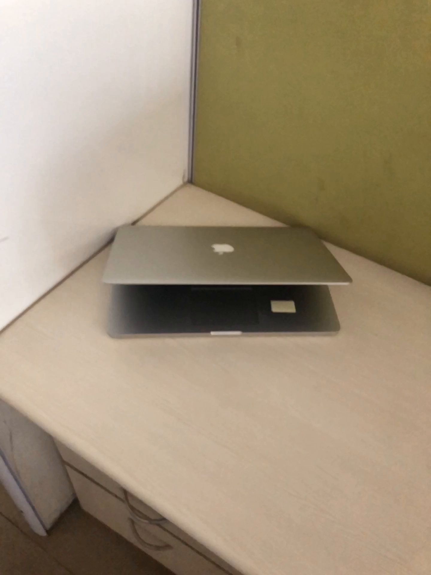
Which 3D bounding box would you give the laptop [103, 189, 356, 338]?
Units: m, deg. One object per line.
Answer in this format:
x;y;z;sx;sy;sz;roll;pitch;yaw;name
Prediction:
0.012;-0.045;0.758;0.343;0.083;0.245;0;47;-5;laptop
